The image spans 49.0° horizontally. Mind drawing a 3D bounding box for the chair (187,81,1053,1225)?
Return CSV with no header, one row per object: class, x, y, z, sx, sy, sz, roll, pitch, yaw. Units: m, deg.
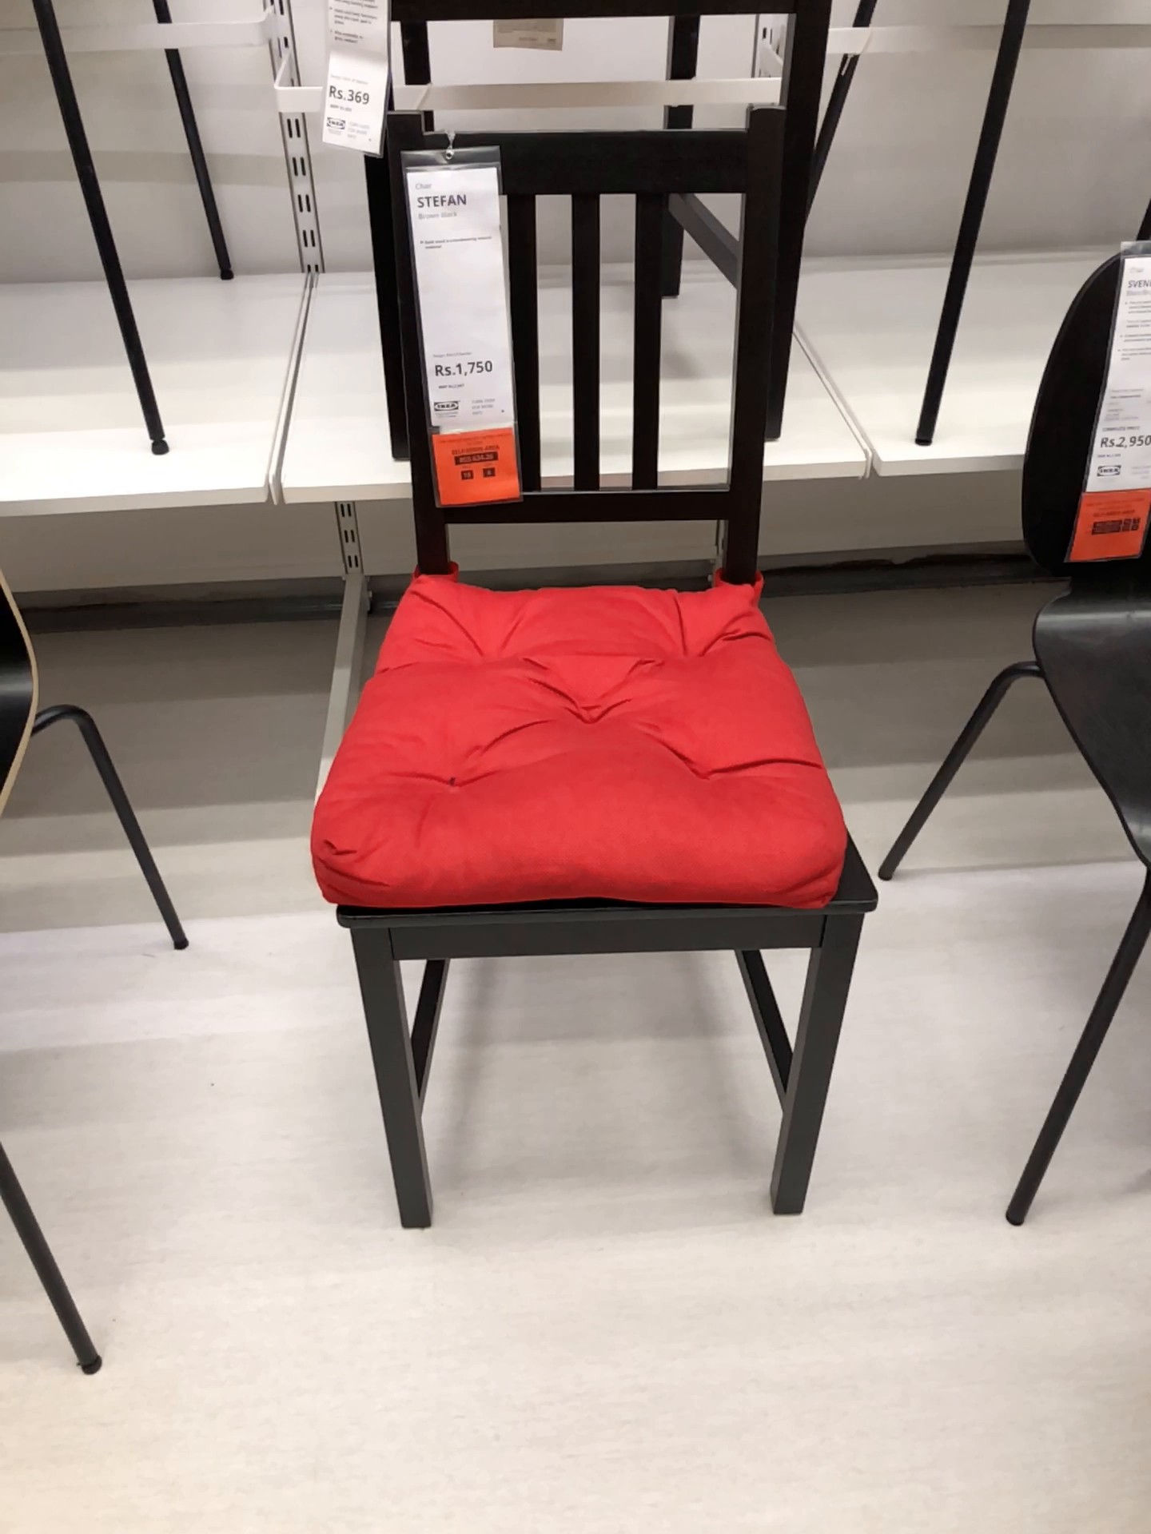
chair,0.017,-0.063,1.079,0.430,0.834,0.483,-2,40,-2
